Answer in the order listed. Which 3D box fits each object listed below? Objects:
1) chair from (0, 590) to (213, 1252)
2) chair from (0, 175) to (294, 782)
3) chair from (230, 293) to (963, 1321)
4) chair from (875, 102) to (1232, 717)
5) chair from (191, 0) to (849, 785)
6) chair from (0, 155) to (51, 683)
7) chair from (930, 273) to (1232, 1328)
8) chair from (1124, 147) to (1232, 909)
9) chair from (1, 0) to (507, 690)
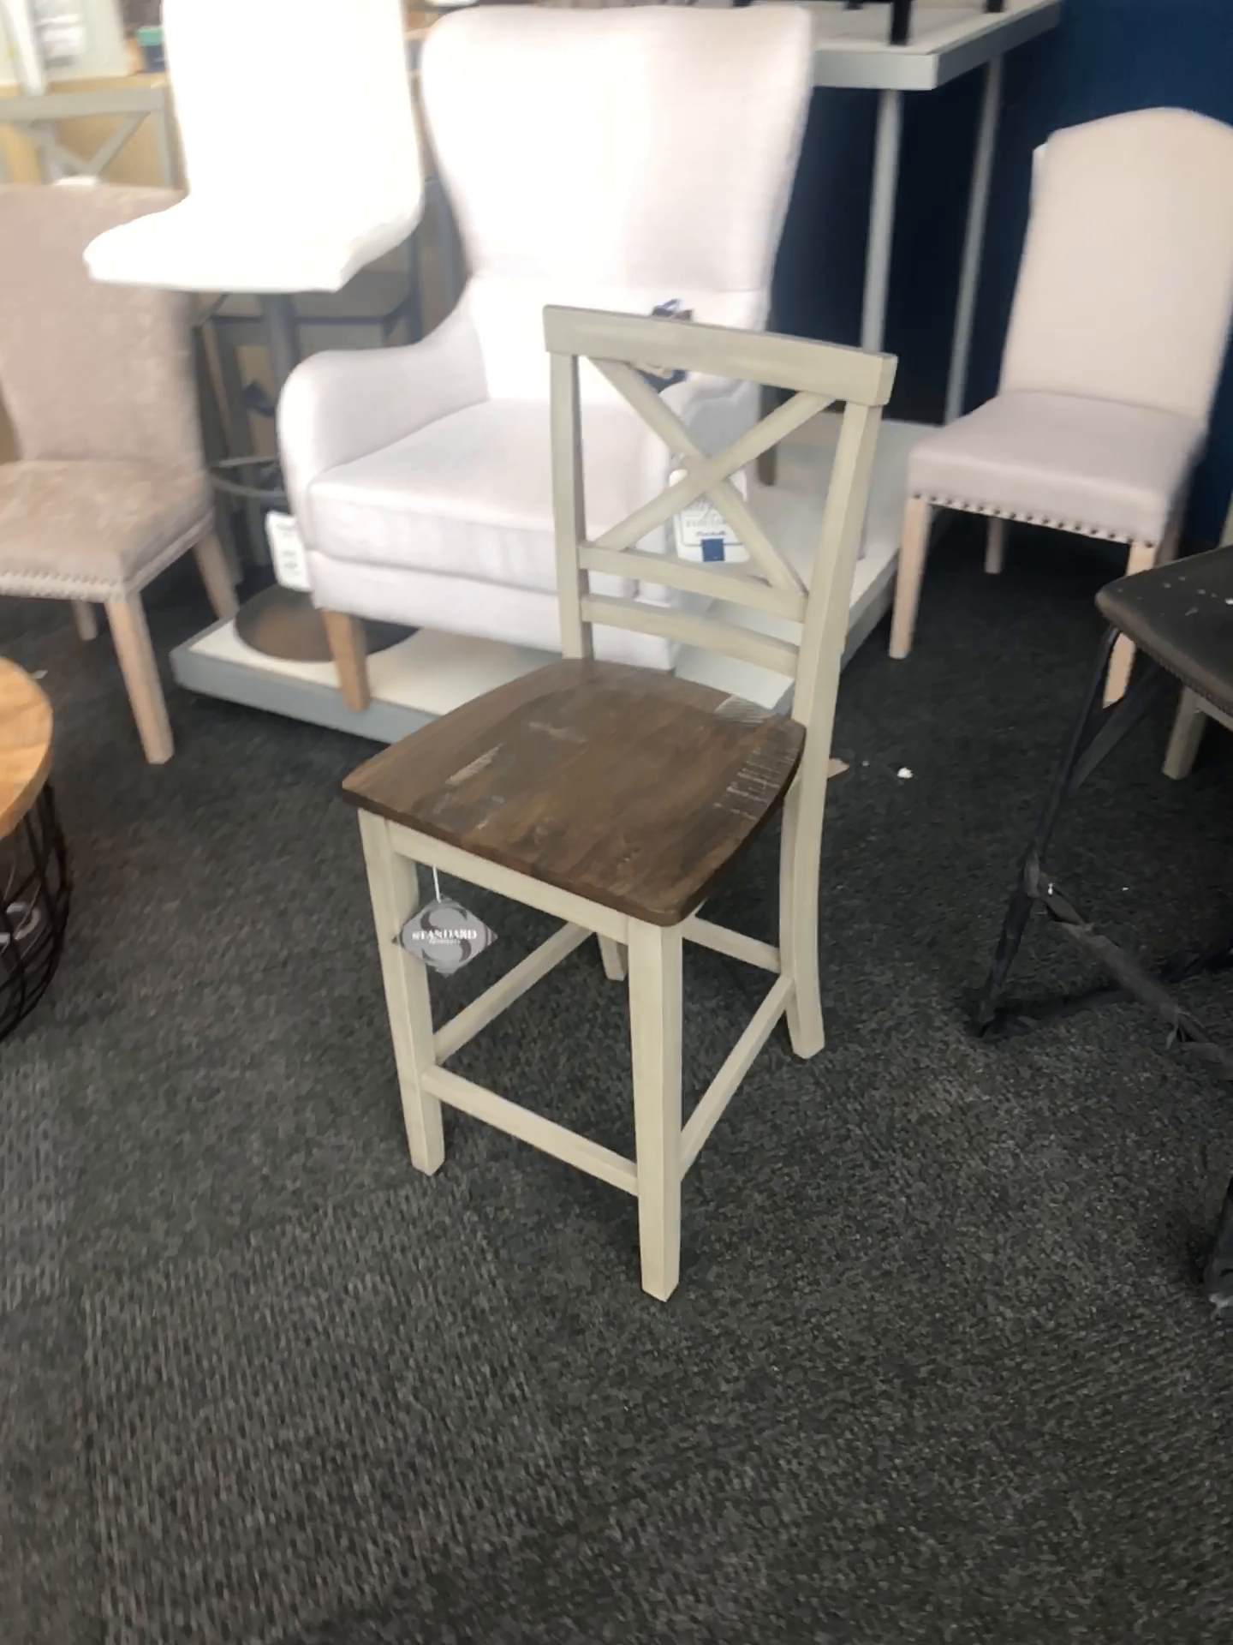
[{"bbox_3d":[-0.976,0.094,1.824,0.519,0.536,0.688,3,36,8],"label":"chair"},{"bbox_3d":[-1.026,-0.647,2.557,0.489,0.944,0.577,4,36,9],"label":"chair"},{"bbox_3d":[0.016,-0.024,1.545,0.470,0.934,0.536,20,41,28],"label":"chair"},{"bbox_3d":[0.895,-0.800,2.590,0.520,0.924,0.587,20,41,28],"label":"chair"},{"bbox_3d":[-0.082,-0.734,2.203,0.690,1.014,0.708,12,38,19],"label":"chair"},{"bbox_3d":[-1.708,-0.873,2.957,0.509,0.944,0.577,-3,36,0],"label":"chair"},{"bbox_3d":[0.781,-0.031,1.523,0.535,0.934,0.542,-16,38,-18],"label":"chair"},{"bbox_3d":[1.216,-0.432,2.027,0.535,0.934,0.471,-12,37,-13],"label":"chair"},{"bbox_3d":[-0.480,-0.748,2.066,0.380,0.914,0.487,12,38,19],"label":"chair"}]
